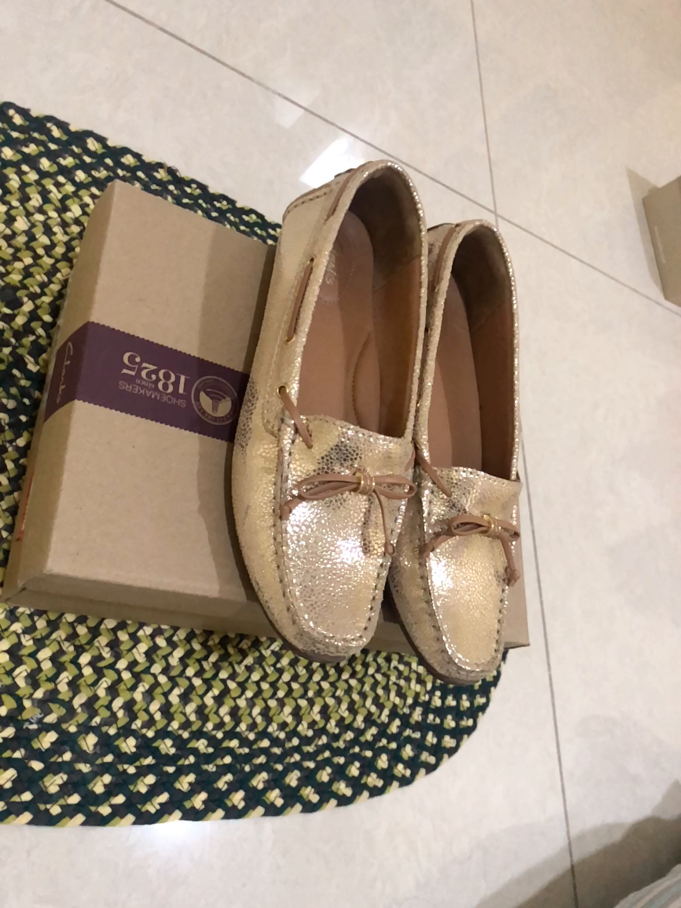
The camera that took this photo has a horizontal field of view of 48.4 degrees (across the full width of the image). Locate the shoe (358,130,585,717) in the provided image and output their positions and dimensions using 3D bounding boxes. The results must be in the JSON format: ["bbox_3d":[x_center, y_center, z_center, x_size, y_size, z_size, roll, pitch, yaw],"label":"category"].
[{"bbox_3d":[0.064,-0.021,0.419,0.090,0.060,0.310,16,63,-34],"label":"shoe"}]

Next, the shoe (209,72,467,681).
[{"bbox_3d":[0.000,-0.040,0.369,0.090,0.060,0.280,16,63,-34],"label":"shoe"}]
